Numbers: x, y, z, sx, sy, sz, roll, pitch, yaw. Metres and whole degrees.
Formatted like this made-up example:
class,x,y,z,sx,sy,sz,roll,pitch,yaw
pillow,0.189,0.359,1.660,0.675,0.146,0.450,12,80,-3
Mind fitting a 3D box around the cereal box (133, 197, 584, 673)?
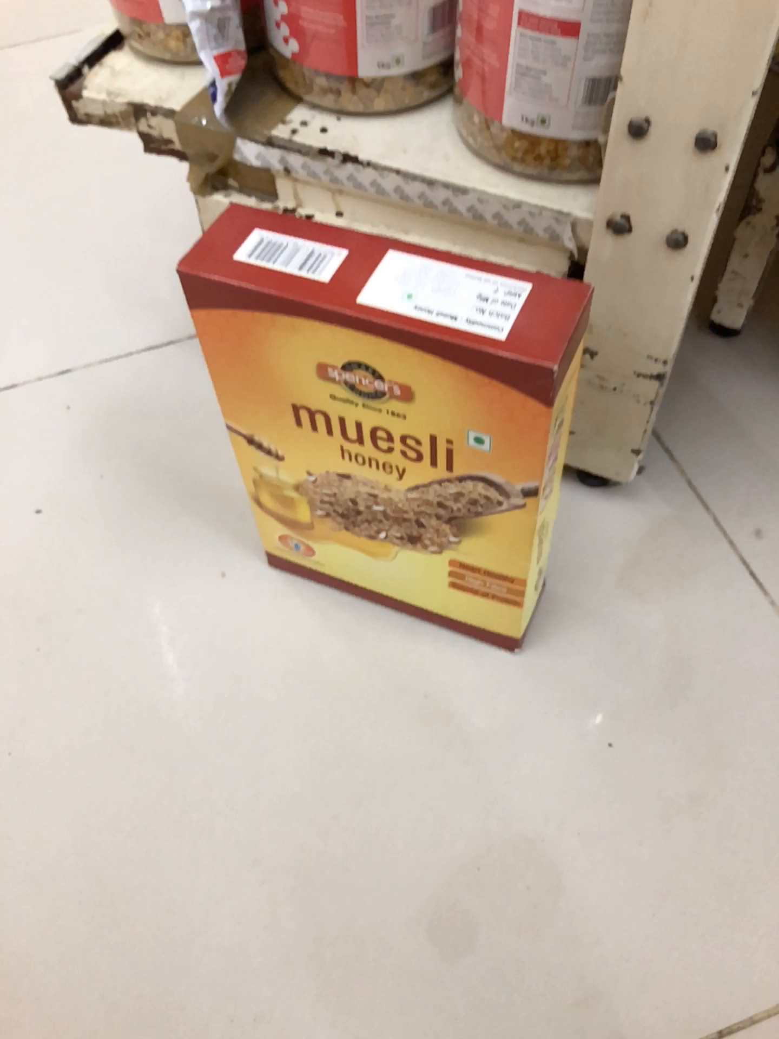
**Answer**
class,x,y,z,sx,sy,sz,roll,pitch,yaw
cereal box,-0.007,-0.030,0.481,0.190,0.259,0.060,18,58,17
